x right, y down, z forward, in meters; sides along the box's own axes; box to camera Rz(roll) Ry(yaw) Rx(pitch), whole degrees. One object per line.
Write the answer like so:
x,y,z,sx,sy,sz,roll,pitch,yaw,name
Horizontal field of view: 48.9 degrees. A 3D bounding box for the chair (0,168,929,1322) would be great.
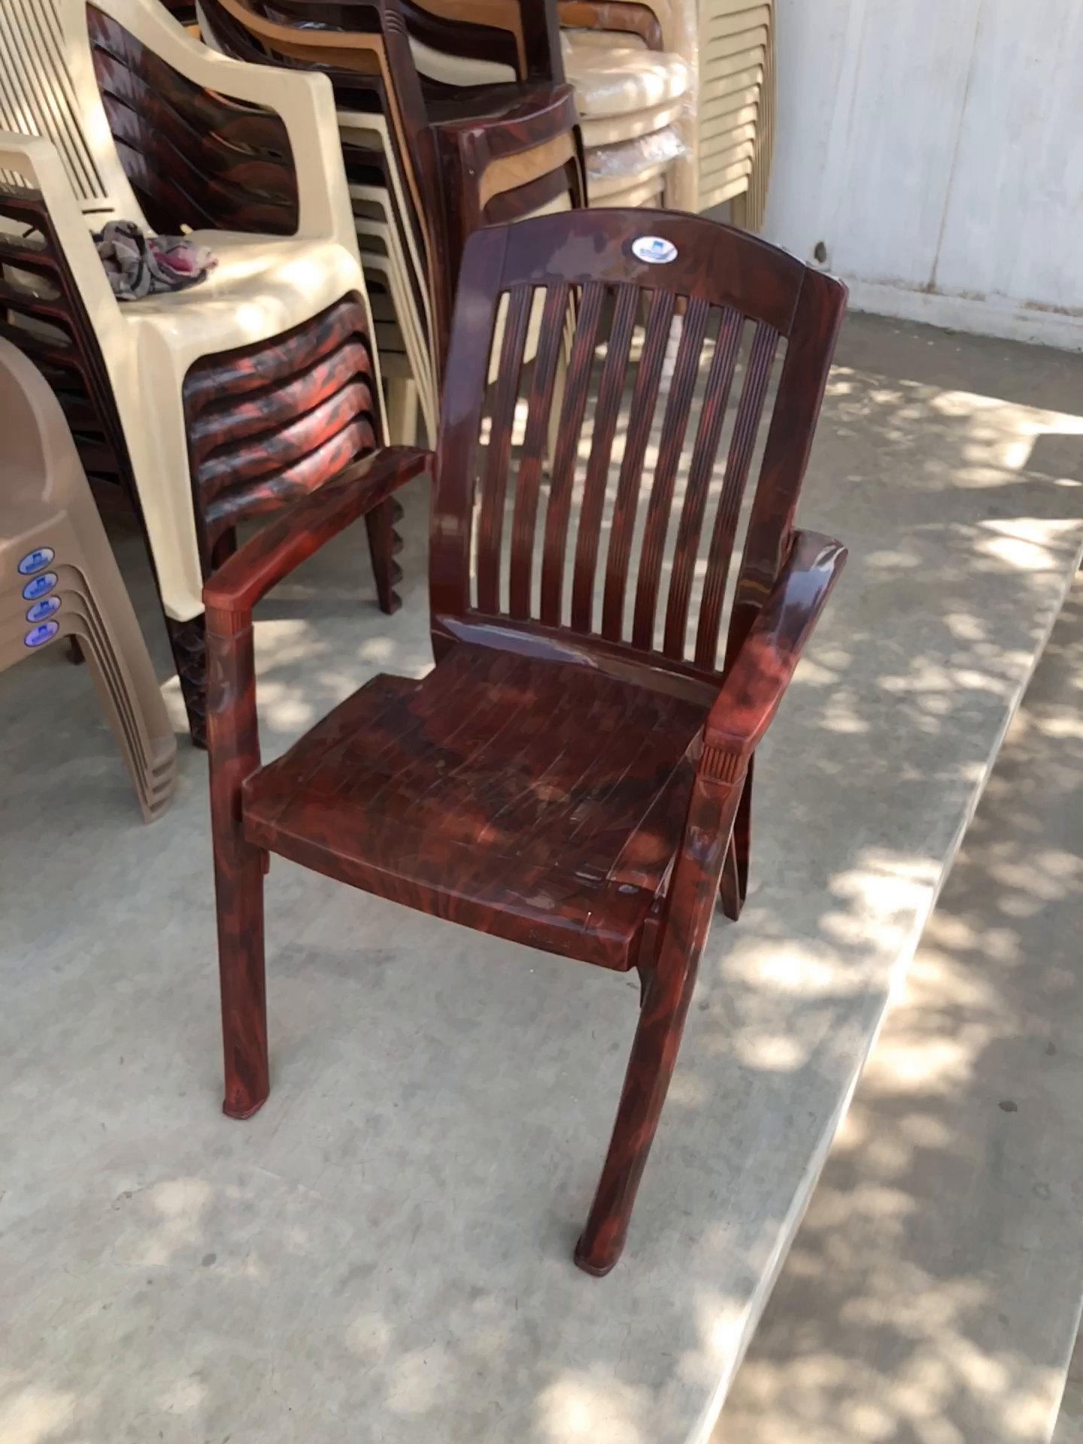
-0.037,-0.019,1.258,0.610,0.855,0.694,14,40,18,chair
